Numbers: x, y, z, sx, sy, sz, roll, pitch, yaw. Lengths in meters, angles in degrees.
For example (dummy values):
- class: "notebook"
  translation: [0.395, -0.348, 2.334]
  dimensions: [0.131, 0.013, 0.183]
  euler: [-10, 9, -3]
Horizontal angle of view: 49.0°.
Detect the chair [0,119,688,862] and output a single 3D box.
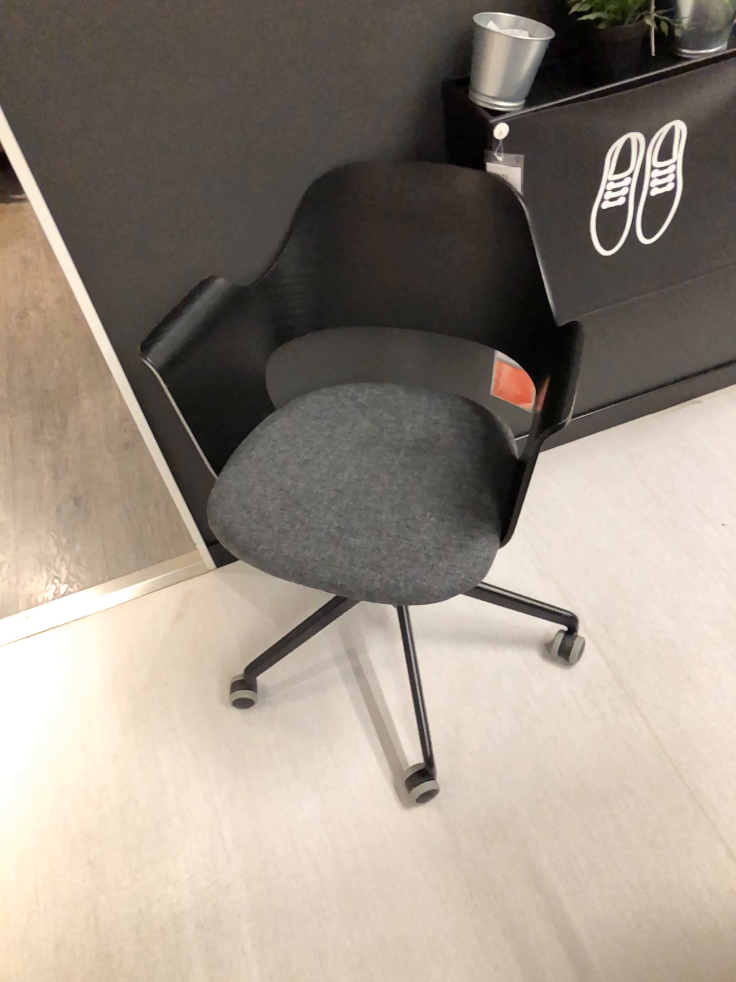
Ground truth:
- class: "chair"
  translation: [-0.010, -0.003, 1.168]
  dimensions: [0.661, 0.755, 0.562]
  euler: [18, 54, 24]
